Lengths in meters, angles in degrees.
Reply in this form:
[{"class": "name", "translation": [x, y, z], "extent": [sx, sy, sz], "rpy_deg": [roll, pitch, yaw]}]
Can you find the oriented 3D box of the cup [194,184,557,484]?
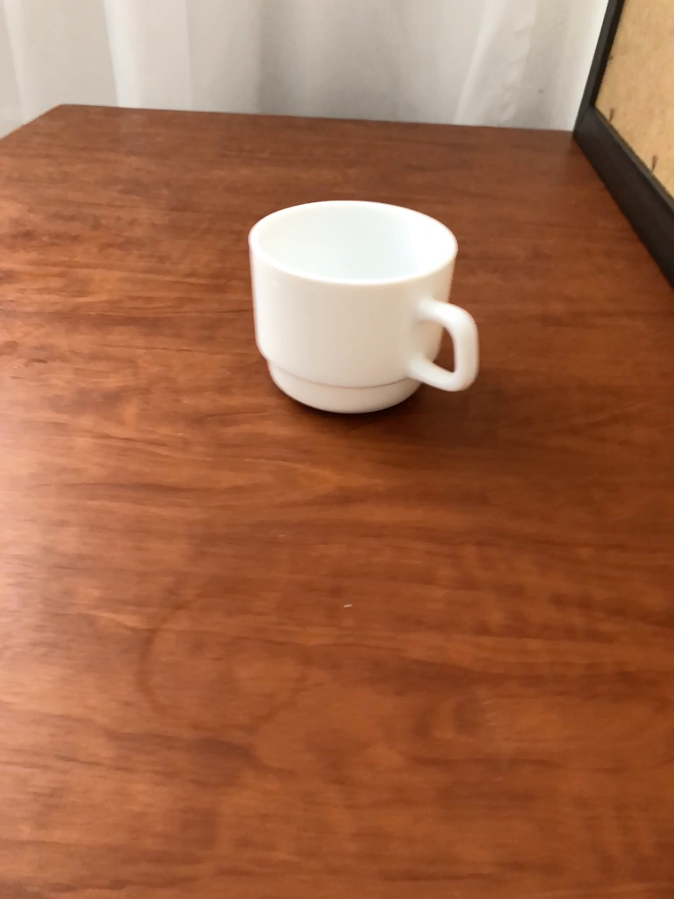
[{"class": "cup", "translation": [0.011, -0.057, 0.315], "extent": [0.087, 0.060, 0.120], "rpy_deg": [-26, 46, -32]}]
